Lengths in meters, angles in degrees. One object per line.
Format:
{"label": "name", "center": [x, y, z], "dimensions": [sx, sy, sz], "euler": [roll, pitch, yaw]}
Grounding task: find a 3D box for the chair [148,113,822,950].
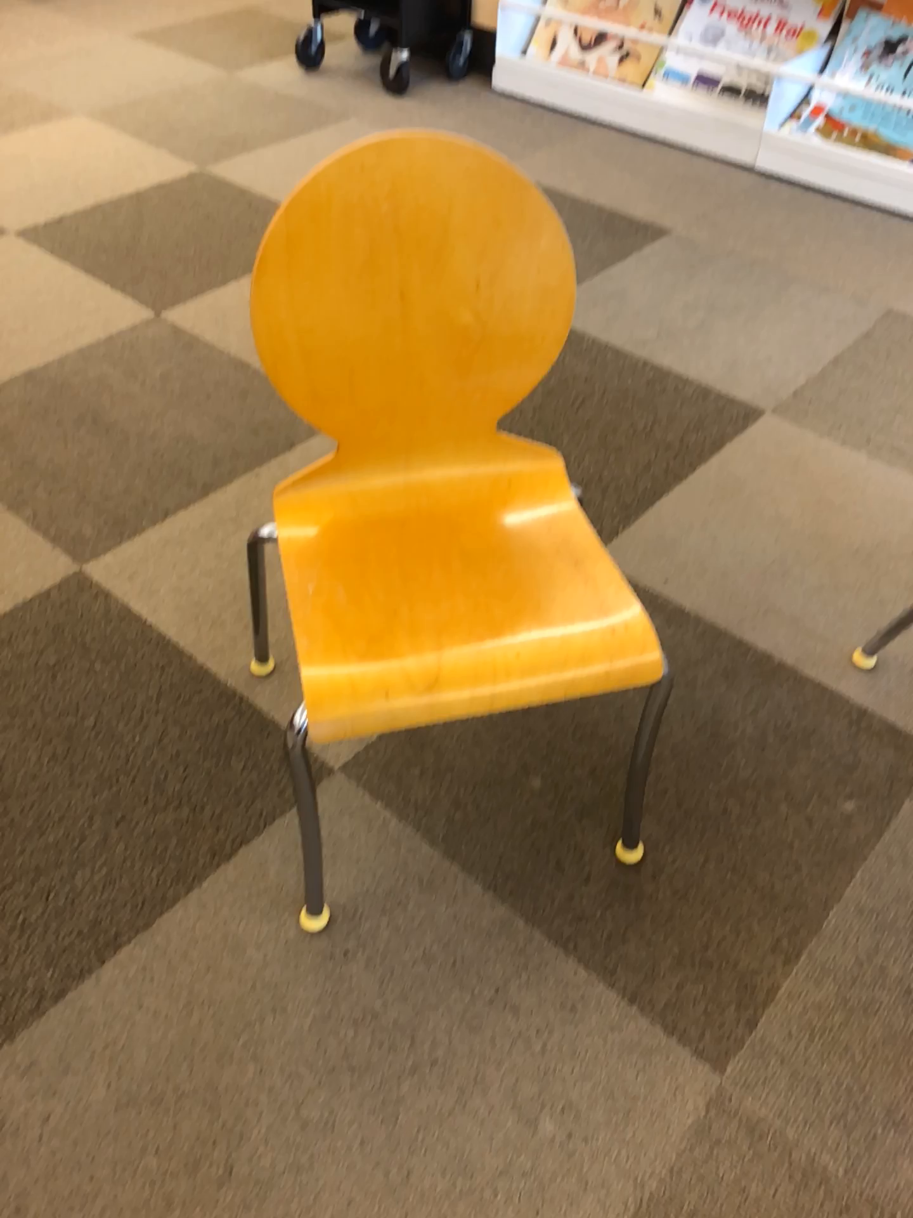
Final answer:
{"label": "chair", "center": [-0.026, -0.068, 1.098], "dimensions": [0.465, 0.722, 0.472], "euler": [-9, 45, -11]}
